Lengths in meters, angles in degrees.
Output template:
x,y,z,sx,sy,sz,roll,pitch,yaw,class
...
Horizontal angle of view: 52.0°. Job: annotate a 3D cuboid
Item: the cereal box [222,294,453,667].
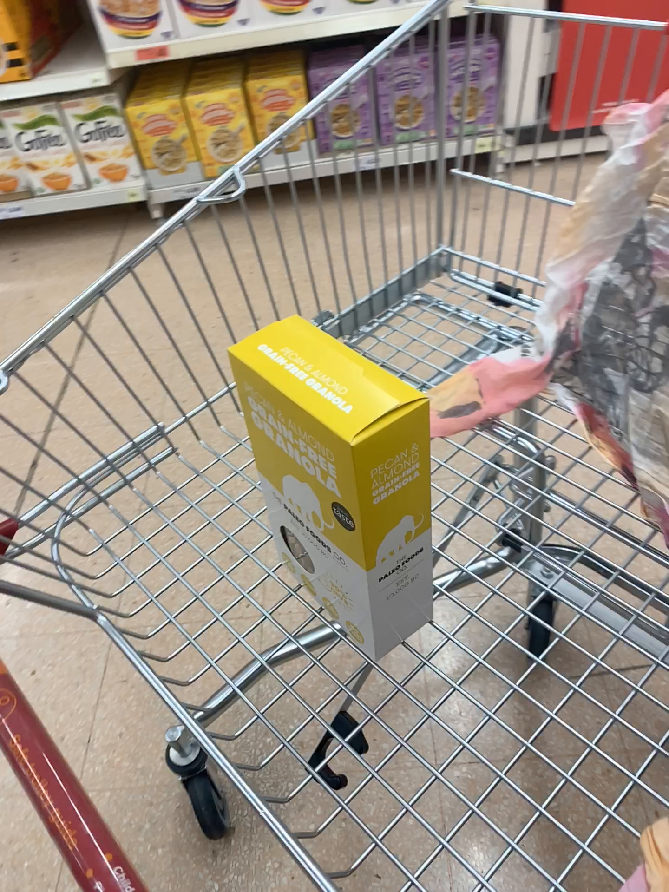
x,y,z,sx,sy,sz,roll,pitch,yaw,class
0.005,0.027,0.449,0.060,0.208,0.131,-31,48,-24,cereal box
